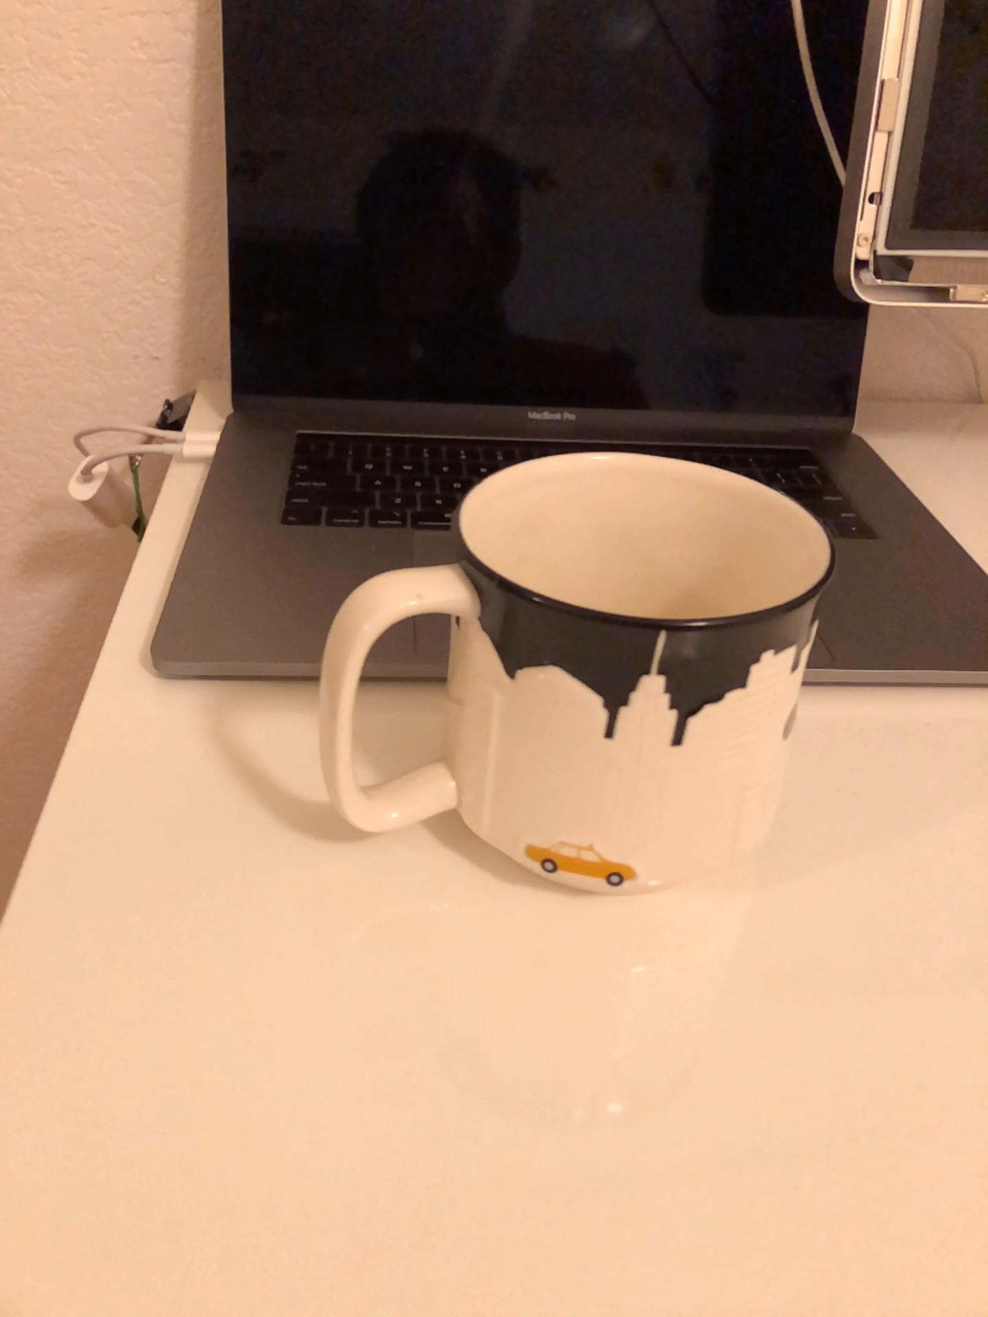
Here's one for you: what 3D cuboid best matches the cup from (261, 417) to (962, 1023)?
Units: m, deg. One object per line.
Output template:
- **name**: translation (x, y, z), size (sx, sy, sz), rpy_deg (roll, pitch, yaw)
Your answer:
- **cup**: translation (0.025, 0.006, 0.315), size (0.150, 0.099, 0.110), rpy_deg (-12, 37, -23)
